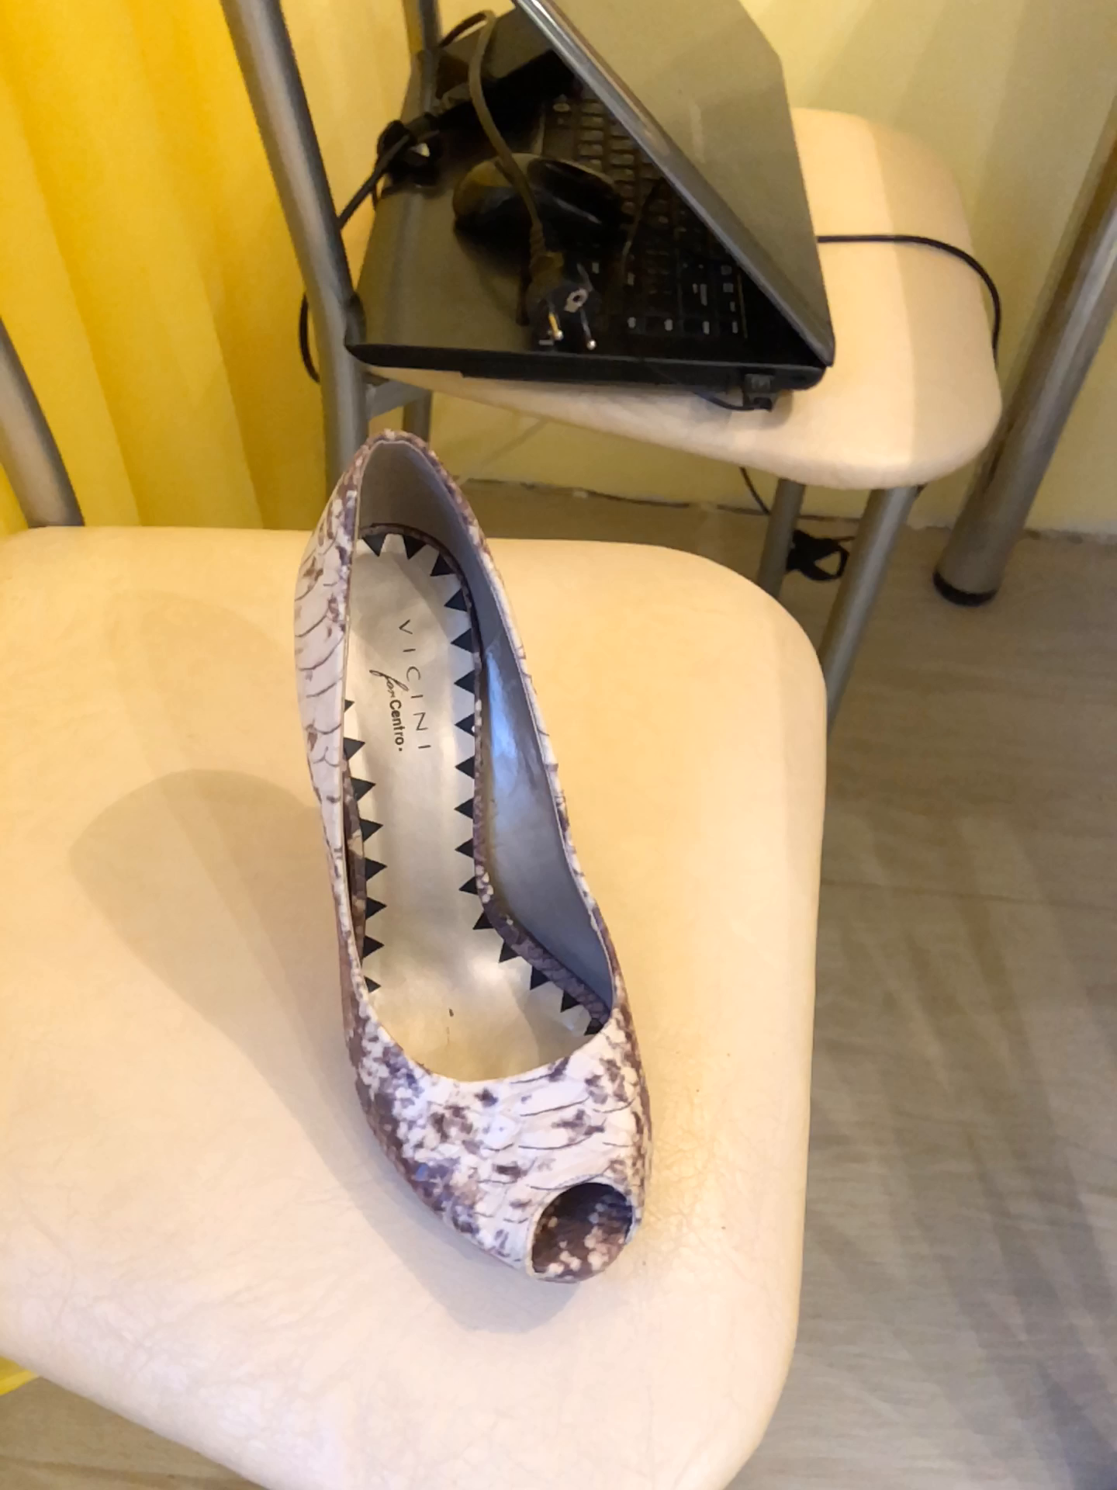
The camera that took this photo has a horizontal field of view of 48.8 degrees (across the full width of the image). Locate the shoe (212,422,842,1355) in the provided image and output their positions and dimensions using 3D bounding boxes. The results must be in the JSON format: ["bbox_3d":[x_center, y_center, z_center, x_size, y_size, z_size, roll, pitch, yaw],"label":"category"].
[{"bbox_3d":[-0.023,0.031,0.334,0.080,0.129,0.201,-15,53,-16],"label":"shoe"}]
